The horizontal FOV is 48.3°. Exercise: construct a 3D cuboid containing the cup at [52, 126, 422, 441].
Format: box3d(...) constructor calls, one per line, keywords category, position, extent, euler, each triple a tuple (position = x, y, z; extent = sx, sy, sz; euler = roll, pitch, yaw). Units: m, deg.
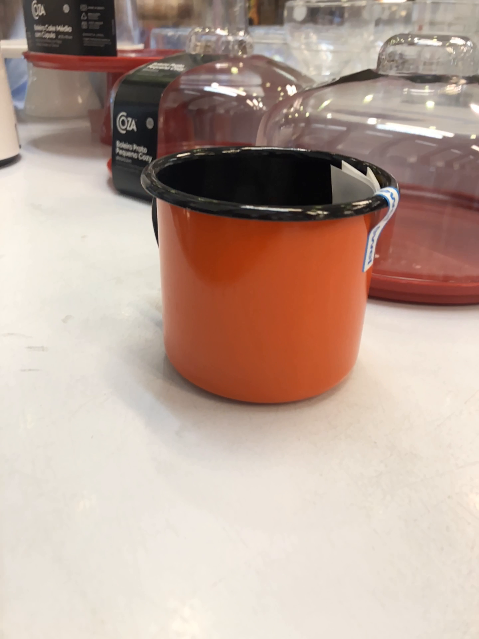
box3d(category="cup", position=(-0.006, -0.027, 0.207), extent=(0.080, 0.069, 0.110), euler=(-21, 36, -34))
